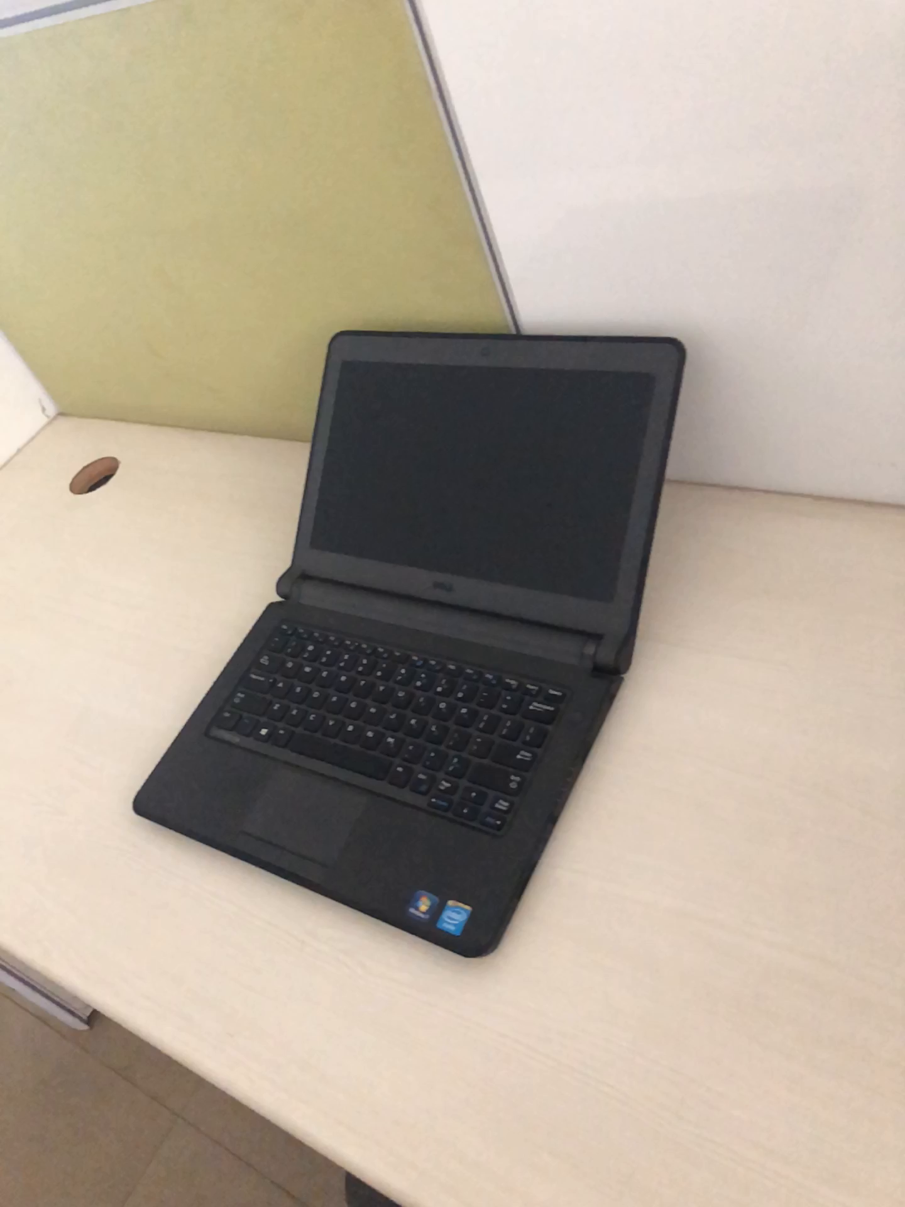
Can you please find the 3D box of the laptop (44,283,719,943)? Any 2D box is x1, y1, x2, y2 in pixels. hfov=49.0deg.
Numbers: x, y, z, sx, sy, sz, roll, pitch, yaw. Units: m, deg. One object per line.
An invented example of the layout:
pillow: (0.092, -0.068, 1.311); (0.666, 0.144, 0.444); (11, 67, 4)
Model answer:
laptop: (-0.037, -0.036, 0.714); (0.317, 0.122, 0.416); (12, 60, 33)
